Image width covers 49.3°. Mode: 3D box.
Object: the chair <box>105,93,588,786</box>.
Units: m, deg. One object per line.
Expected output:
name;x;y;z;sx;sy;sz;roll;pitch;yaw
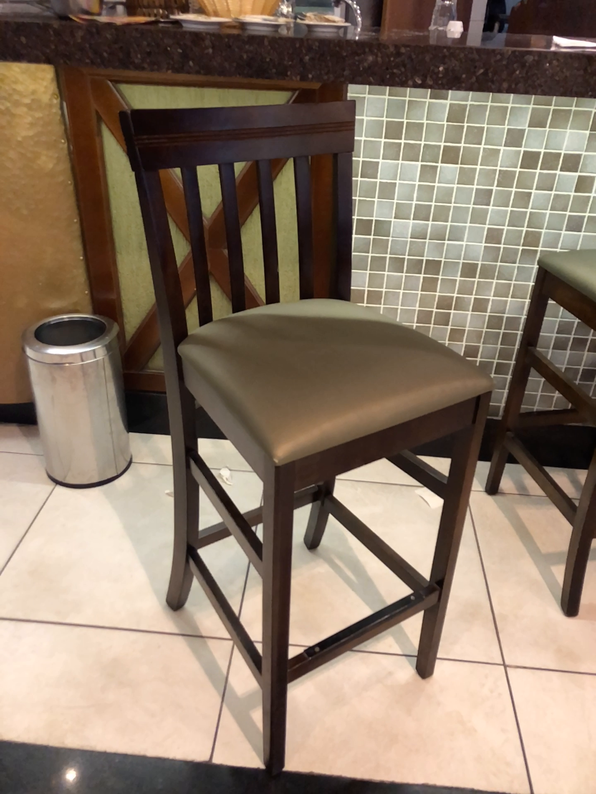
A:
chair;0.026;0.063;1.154;0.461;1.032;0.492;-17;36;-29
